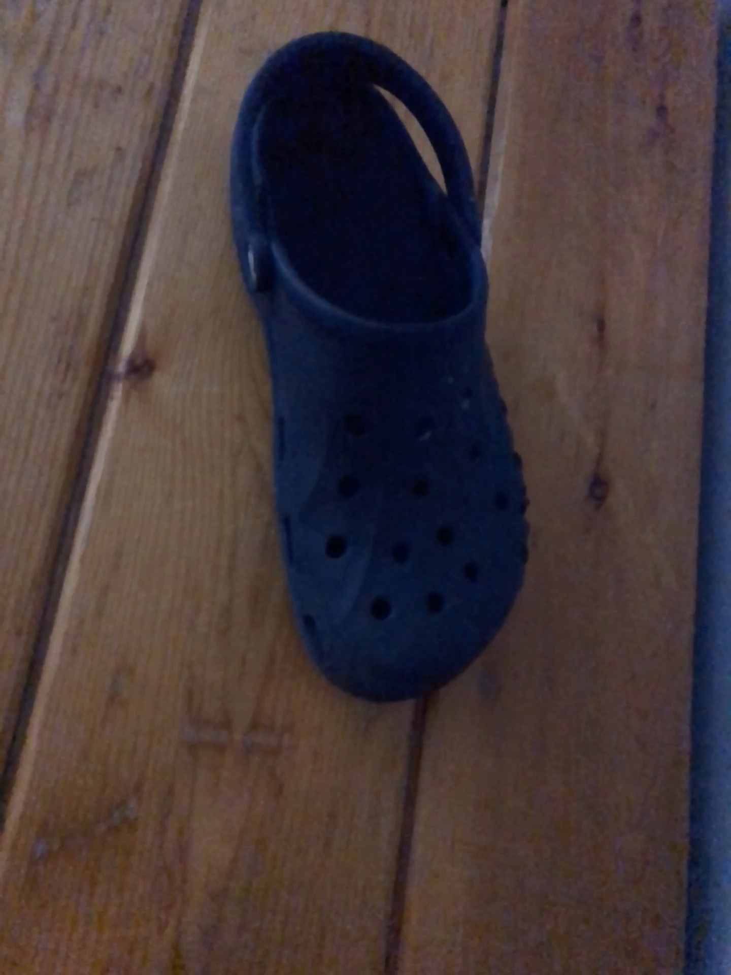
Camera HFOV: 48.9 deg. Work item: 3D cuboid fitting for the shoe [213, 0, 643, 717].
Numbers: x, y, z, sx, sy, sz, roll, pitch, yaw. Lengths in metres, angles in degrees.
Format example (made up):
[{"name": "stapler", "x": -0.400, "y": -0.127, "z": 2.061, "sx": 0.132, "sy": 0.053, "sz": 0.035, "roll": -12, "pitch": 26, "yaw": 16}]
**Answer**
[{"name": "shoe", "x": 0.015, "y": -0.058, "z": 0.357, "sx": 0.130, "sy": 0.080, "sz": 0.290, "roll": -4, "pitch": 78, "yaw": -17}]
